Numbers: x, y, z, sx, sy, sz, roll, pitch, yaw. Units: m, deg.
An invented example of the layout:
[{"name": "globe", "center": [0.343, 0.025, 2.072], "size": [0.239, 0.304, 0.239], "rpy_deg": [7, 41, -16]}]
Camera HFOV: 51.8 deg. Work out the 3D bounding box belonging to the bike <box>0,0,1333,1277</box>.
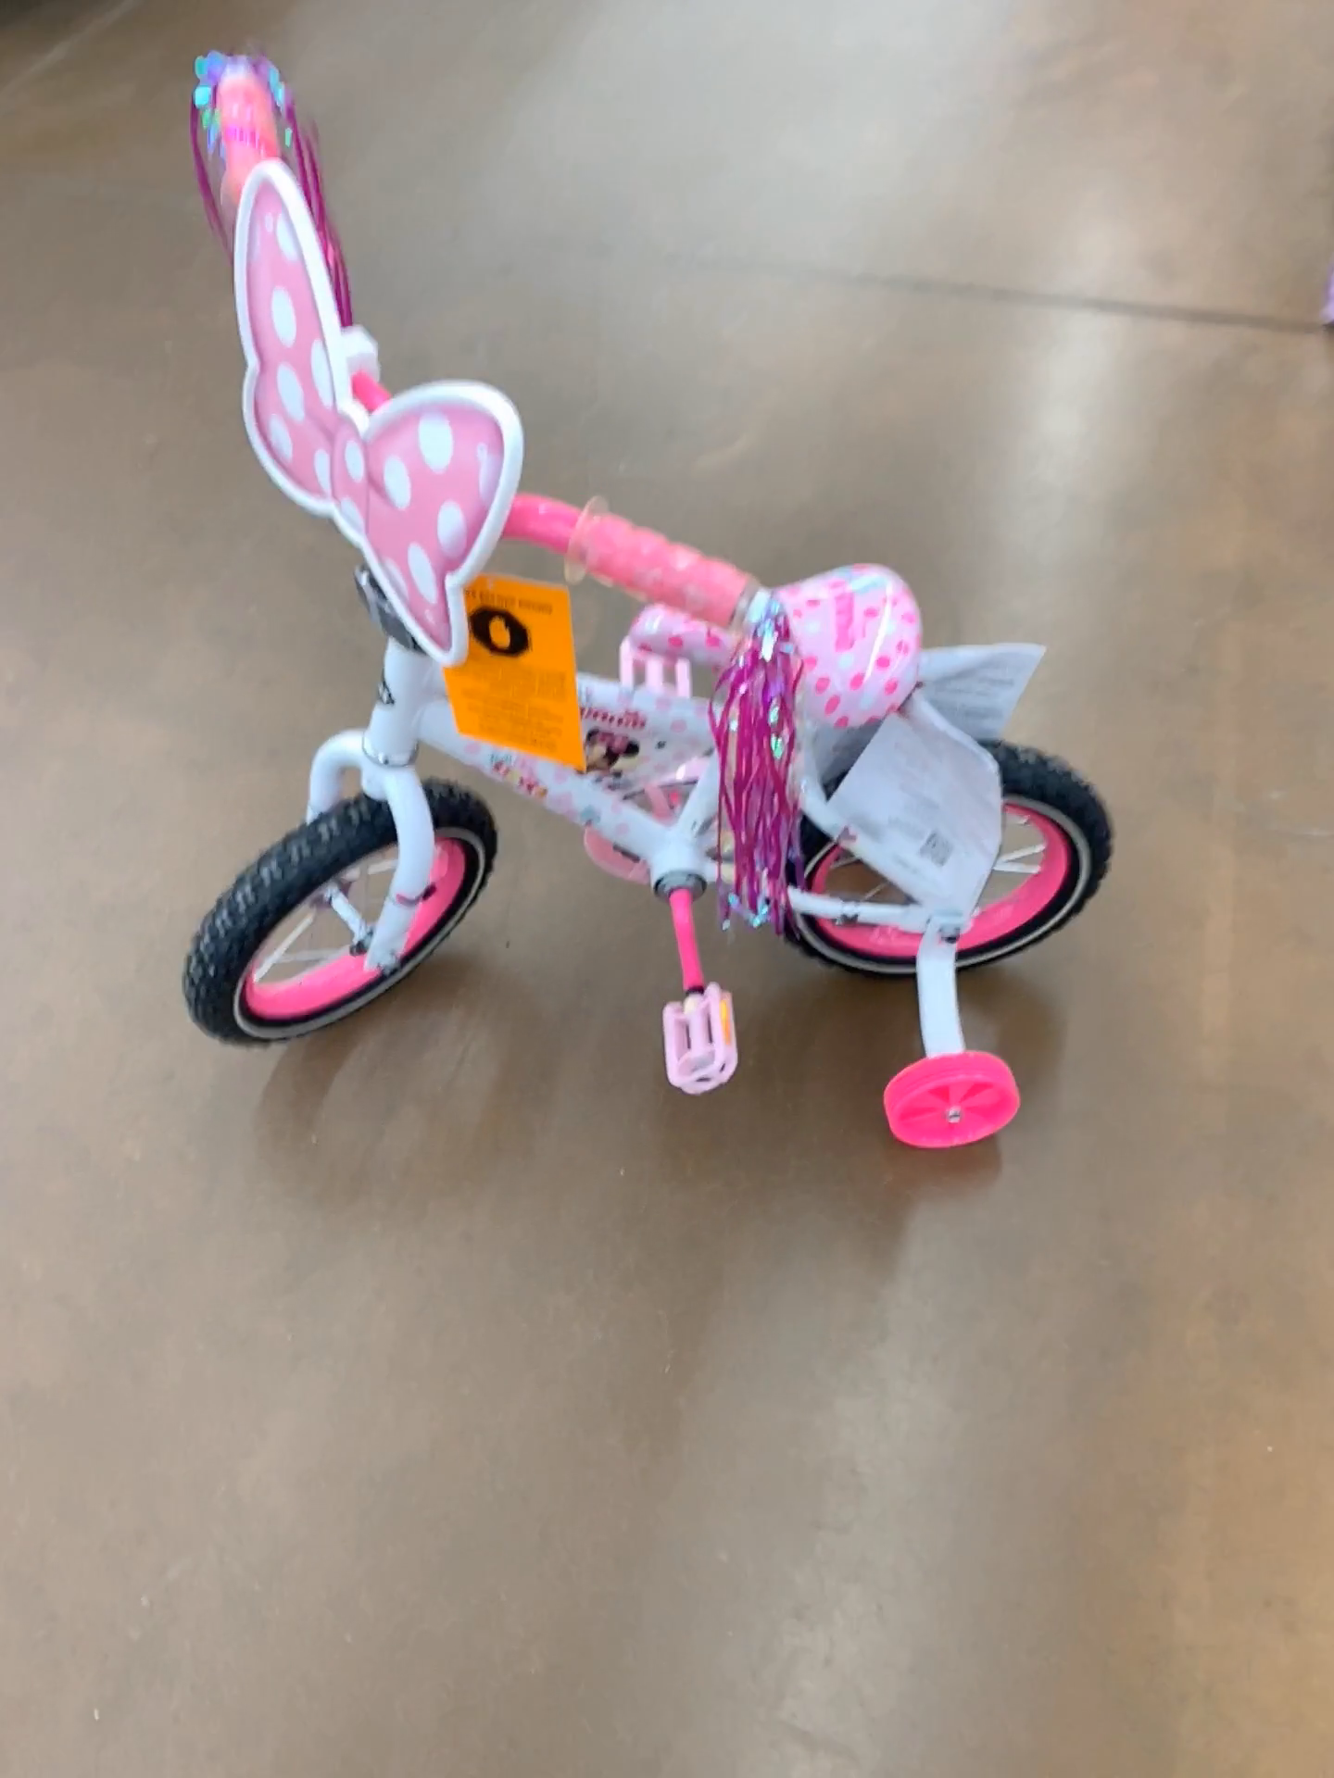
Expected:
[{"name": "bike", "center": [-0.010, -0.145, 0.988], "size": [0.724, 0.648, 0.503], "rpy_deg": [-10, 51, -3]}]
